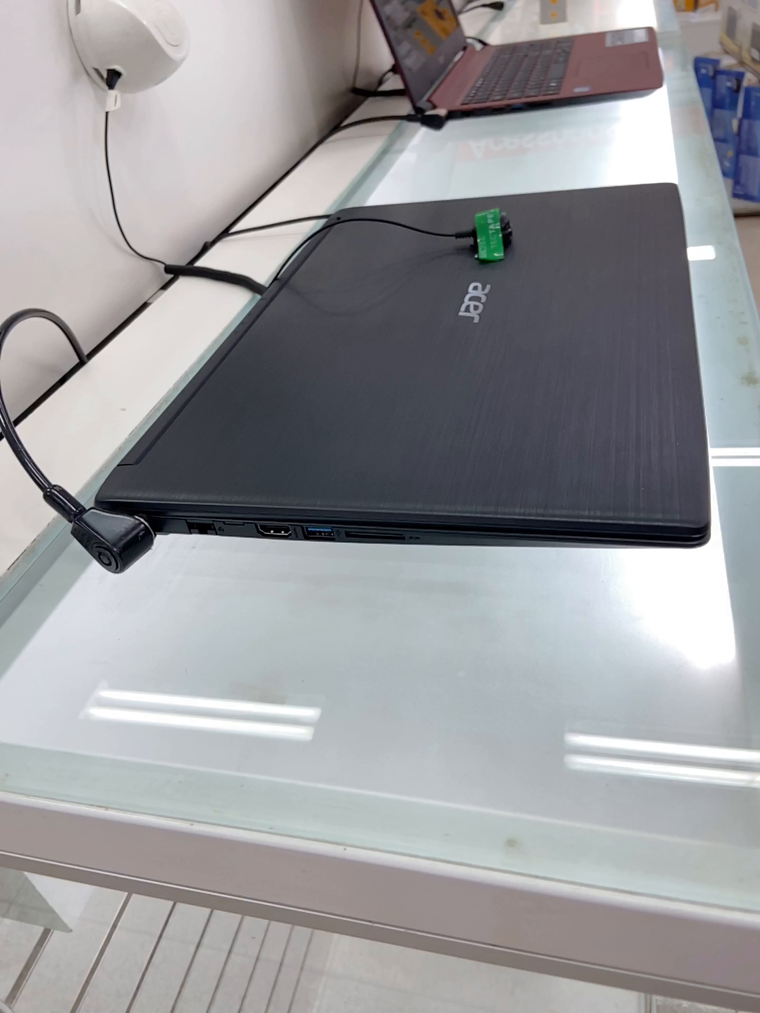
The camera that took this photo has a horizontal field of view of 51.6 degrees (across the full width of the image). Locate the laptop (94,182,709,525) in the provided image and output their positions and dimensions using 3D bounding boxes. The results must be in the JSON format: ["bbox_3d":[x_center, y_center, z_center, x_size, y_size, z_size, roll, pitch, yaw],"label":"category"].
[{"bbox_3d":[0.040,-0.118,0.452,0.247,0.001,0.389,2,38,16],"label":"laptop"}]
